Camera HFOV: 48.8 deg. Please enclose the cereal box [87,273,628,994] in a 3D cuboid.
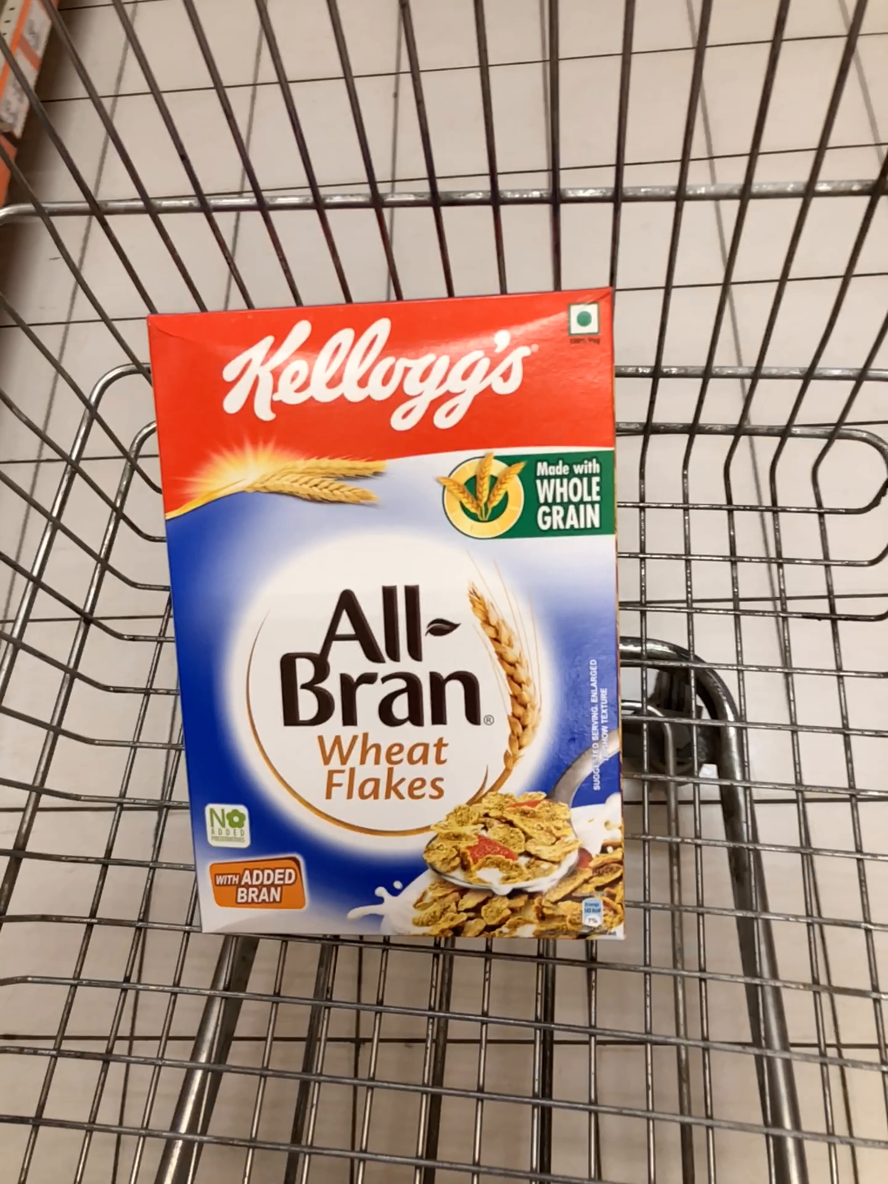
[{"bbox_3d":[-0.024,0.018,0.404,0.190,0.080,0.270,-1,101,6],"label":"cereal box"}]
